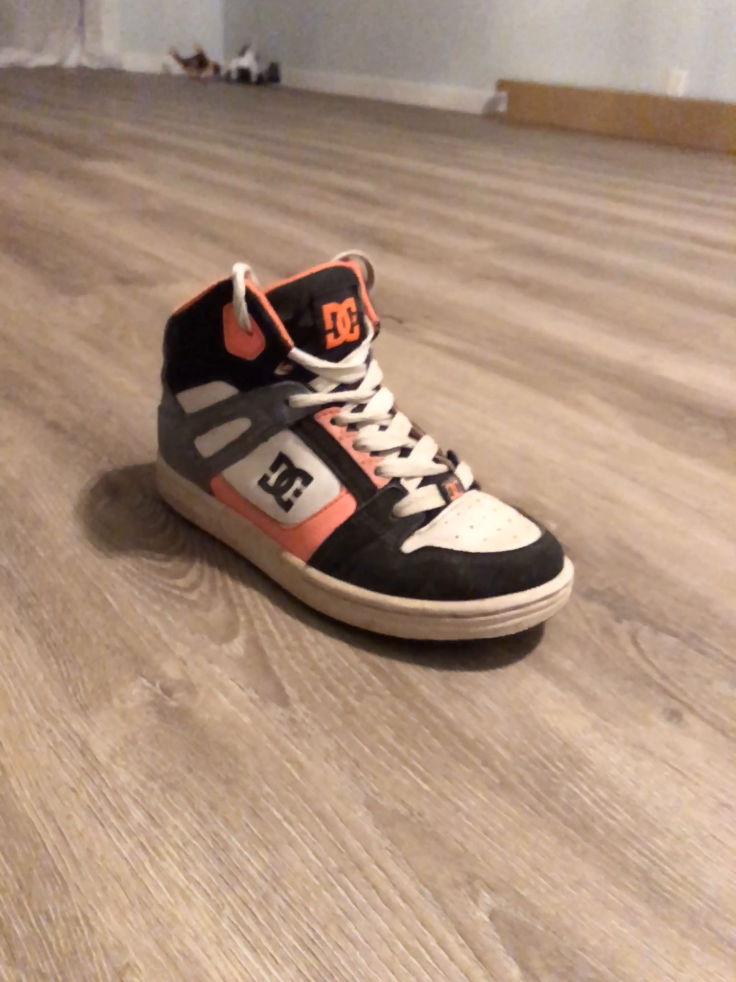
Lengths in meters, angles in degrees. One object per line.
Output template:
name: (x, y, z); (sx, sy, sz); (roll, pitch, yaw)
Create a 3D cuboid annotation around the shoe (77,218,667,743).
shoe: (-0.016, -0.026, 0.366); (0.240, 0.139, 0.090); (25, 33, 33)
